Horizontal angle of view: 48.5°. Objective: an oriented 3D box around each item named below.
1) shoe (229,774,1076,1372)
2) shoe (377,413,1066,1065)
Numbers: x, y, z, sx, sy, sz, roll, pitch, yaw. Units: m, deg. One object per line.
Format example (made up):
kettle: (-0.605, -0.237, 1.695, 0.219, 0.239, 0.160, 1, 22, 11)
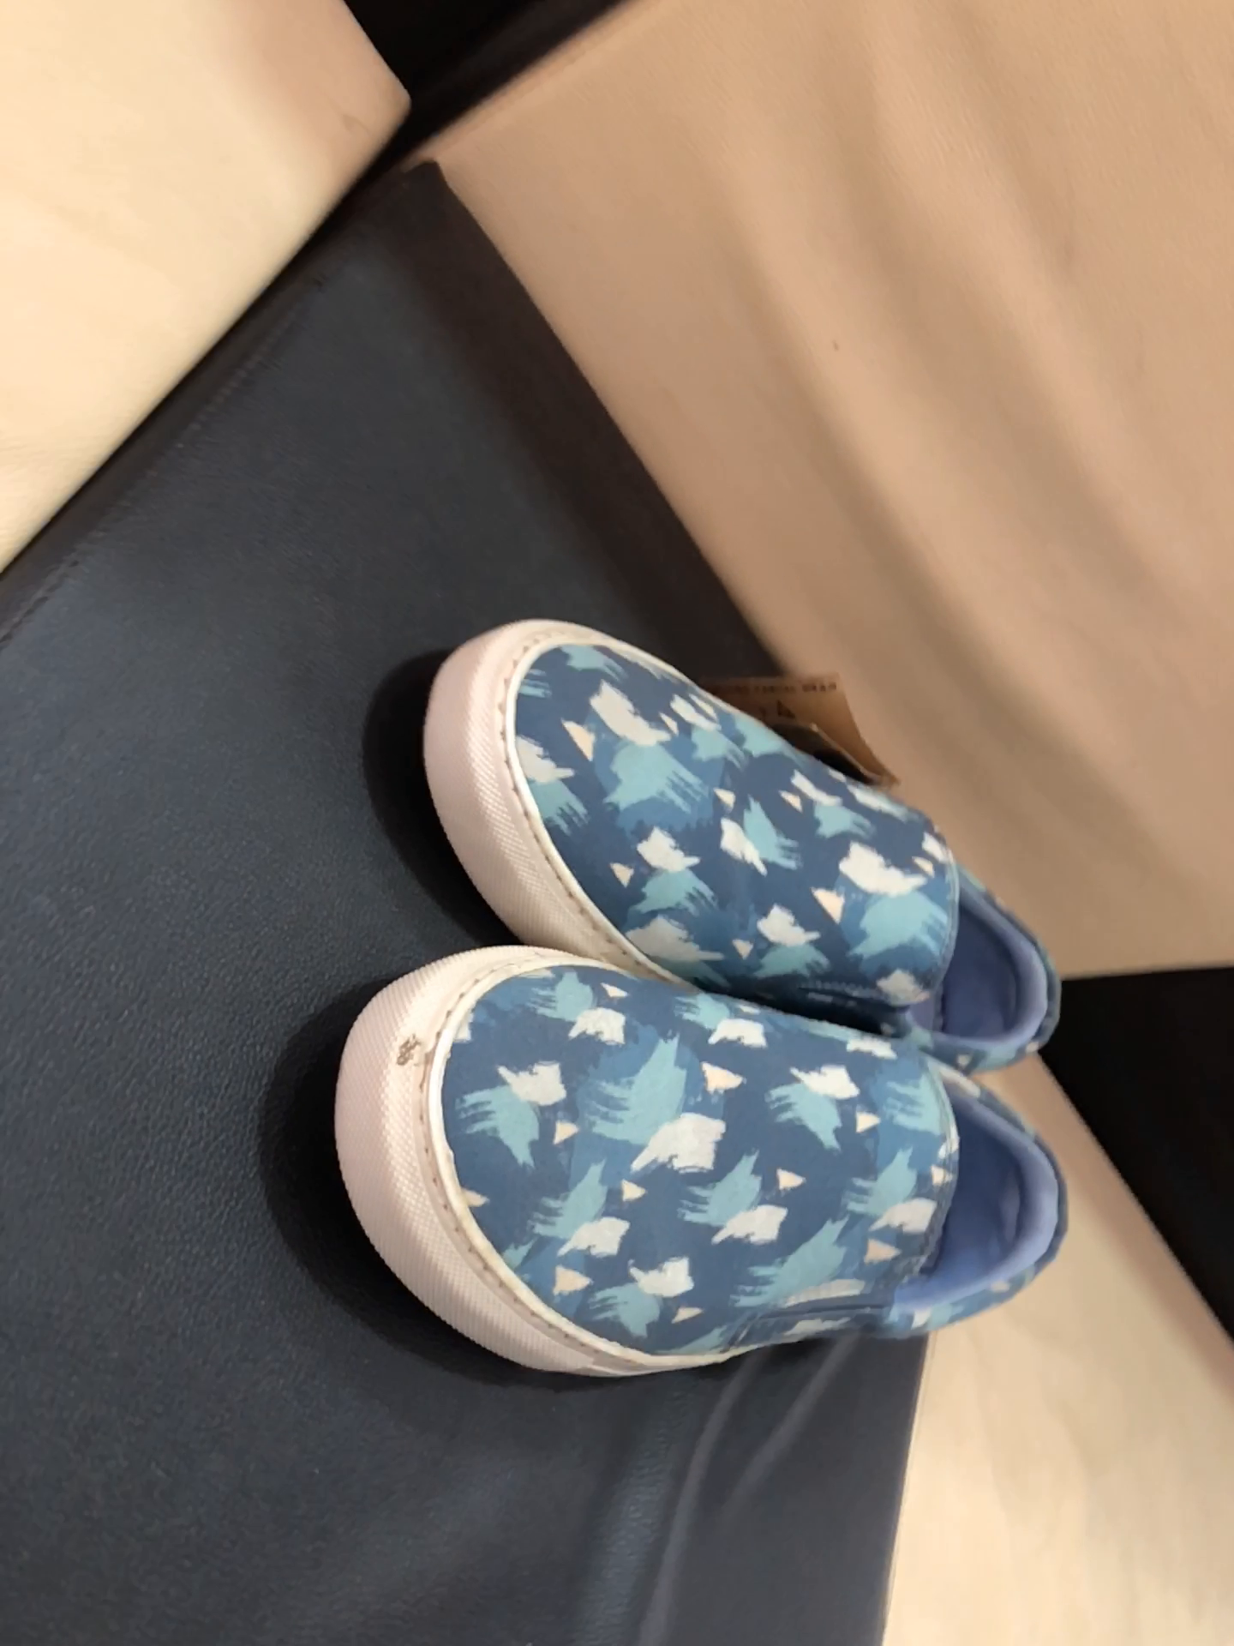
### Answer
shoe: (0.037, 0.093, 0.407, 0.282, 0.089, 0.120, 24, 62, -48)
shoe: (0.056, -0.002, 0.429, 0.282, 0.060, 0.110, 24, 62, -48)
